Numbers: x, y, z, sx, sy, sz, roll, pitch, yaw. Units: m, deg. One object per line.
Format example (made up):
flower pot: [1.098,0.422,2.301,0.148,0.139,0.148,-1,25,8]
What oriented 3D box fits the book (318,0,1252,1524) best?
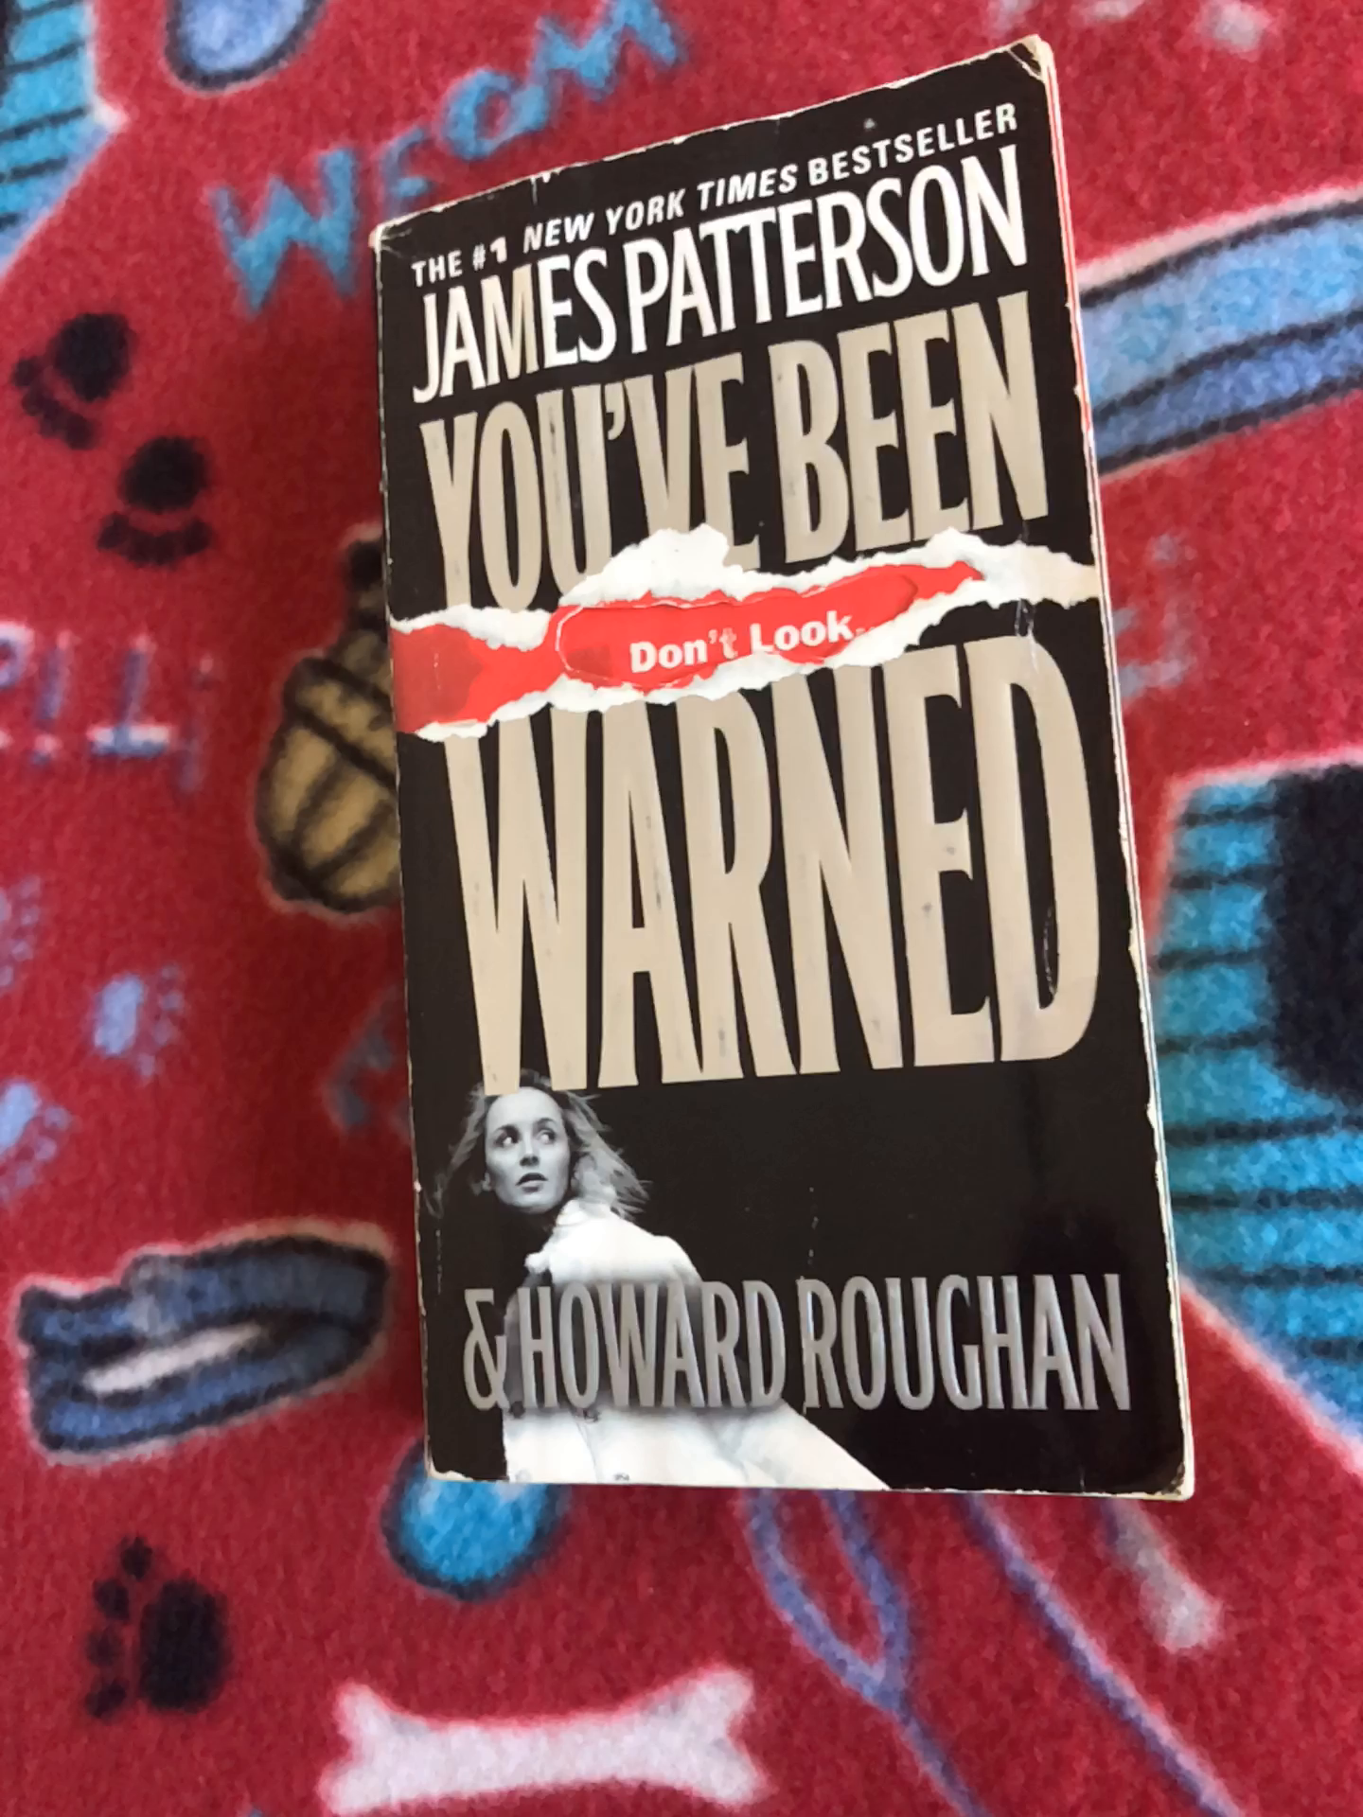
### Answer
book: [0.013,-0.017,0.219,0.110,0.040,0.190,-5,87,17]
